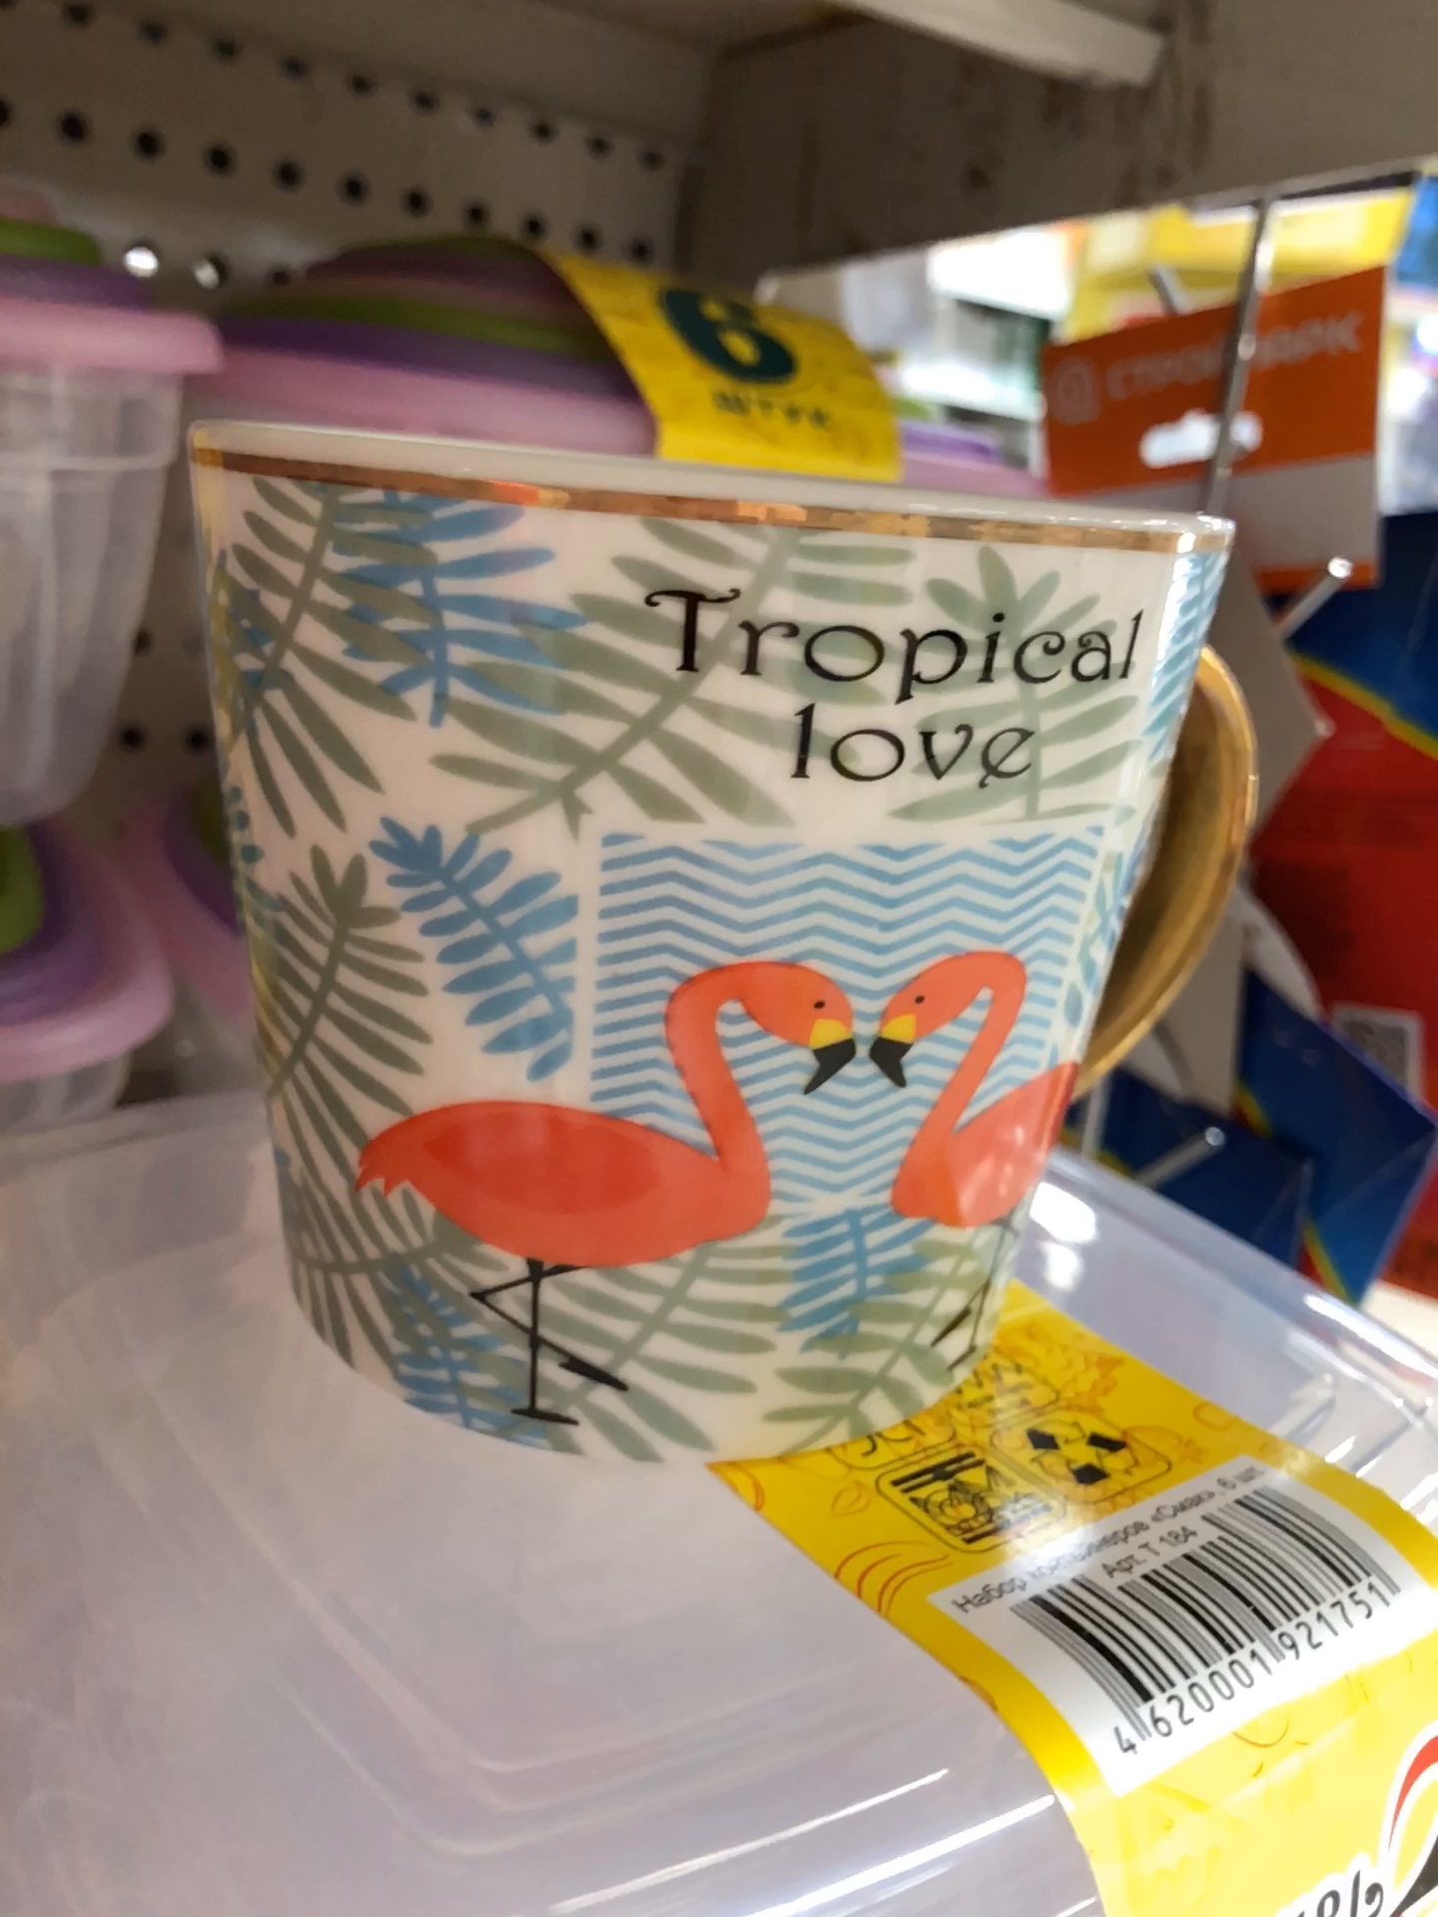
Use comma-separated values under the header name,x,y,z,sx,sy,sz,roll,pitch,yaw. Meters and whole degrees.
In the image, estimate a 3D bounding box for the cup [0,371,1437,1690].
name,x,y,z,sx,sy,sz,roll,pitch,yaw
cup,0.003,-0.012,0.182,0.102,0.085,0.128,21,23,40
